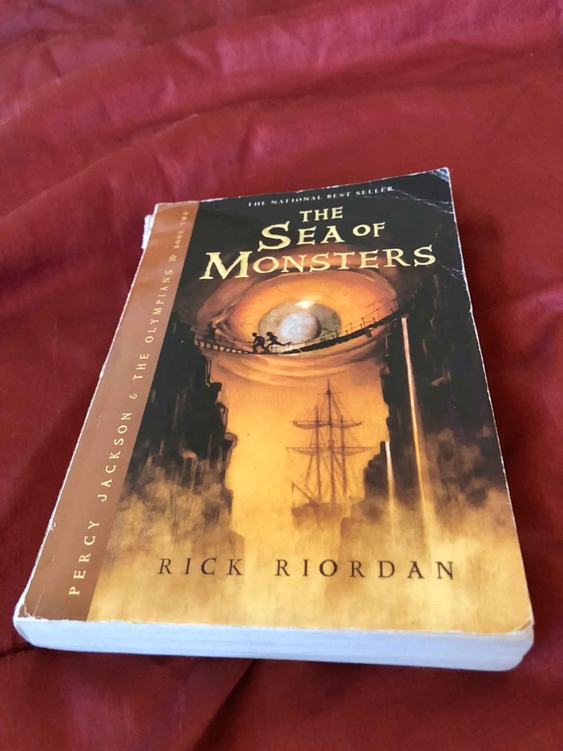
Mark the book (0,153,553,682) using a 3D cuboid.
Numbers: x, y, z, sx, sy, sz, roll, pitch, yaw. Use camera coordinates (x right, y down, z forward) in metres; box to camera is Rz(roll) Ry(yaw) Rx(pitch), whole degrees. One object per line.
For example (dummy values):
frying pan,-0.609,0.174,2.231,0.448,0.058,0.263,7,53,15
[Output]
book,-0.002,-0.005,0.223,0.144,0.030,0.198,-3,50,10
